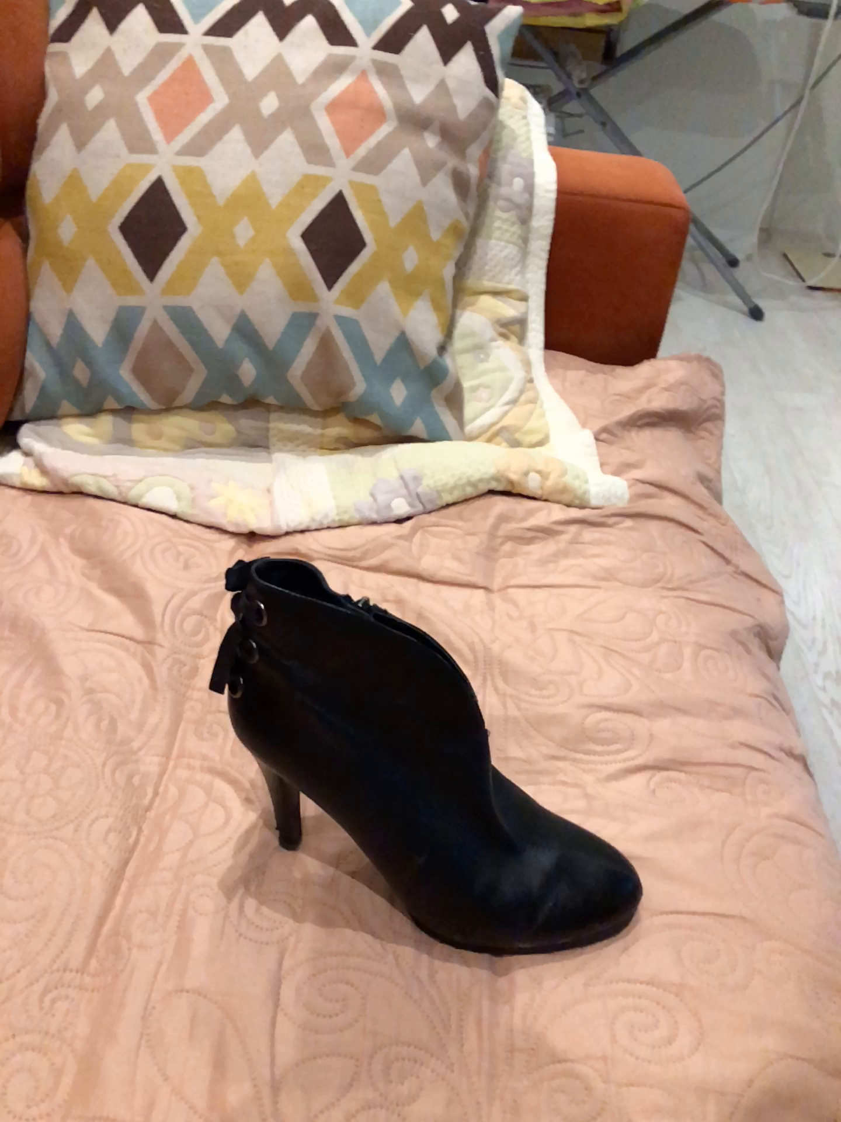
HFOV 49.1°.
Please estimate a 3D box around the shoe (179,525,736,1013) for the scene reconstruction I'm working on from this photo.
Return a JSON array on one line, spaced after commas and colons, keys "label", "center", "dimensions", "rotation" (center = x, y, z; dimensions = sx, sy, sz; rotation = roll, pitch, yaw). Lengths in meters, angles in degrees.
[{"label": "shoe", "center": [0.013, 0.100, 0.443], "dimensions": [0.220, 0.169, 0.096], "rotation": [12, 37, 7]}]
